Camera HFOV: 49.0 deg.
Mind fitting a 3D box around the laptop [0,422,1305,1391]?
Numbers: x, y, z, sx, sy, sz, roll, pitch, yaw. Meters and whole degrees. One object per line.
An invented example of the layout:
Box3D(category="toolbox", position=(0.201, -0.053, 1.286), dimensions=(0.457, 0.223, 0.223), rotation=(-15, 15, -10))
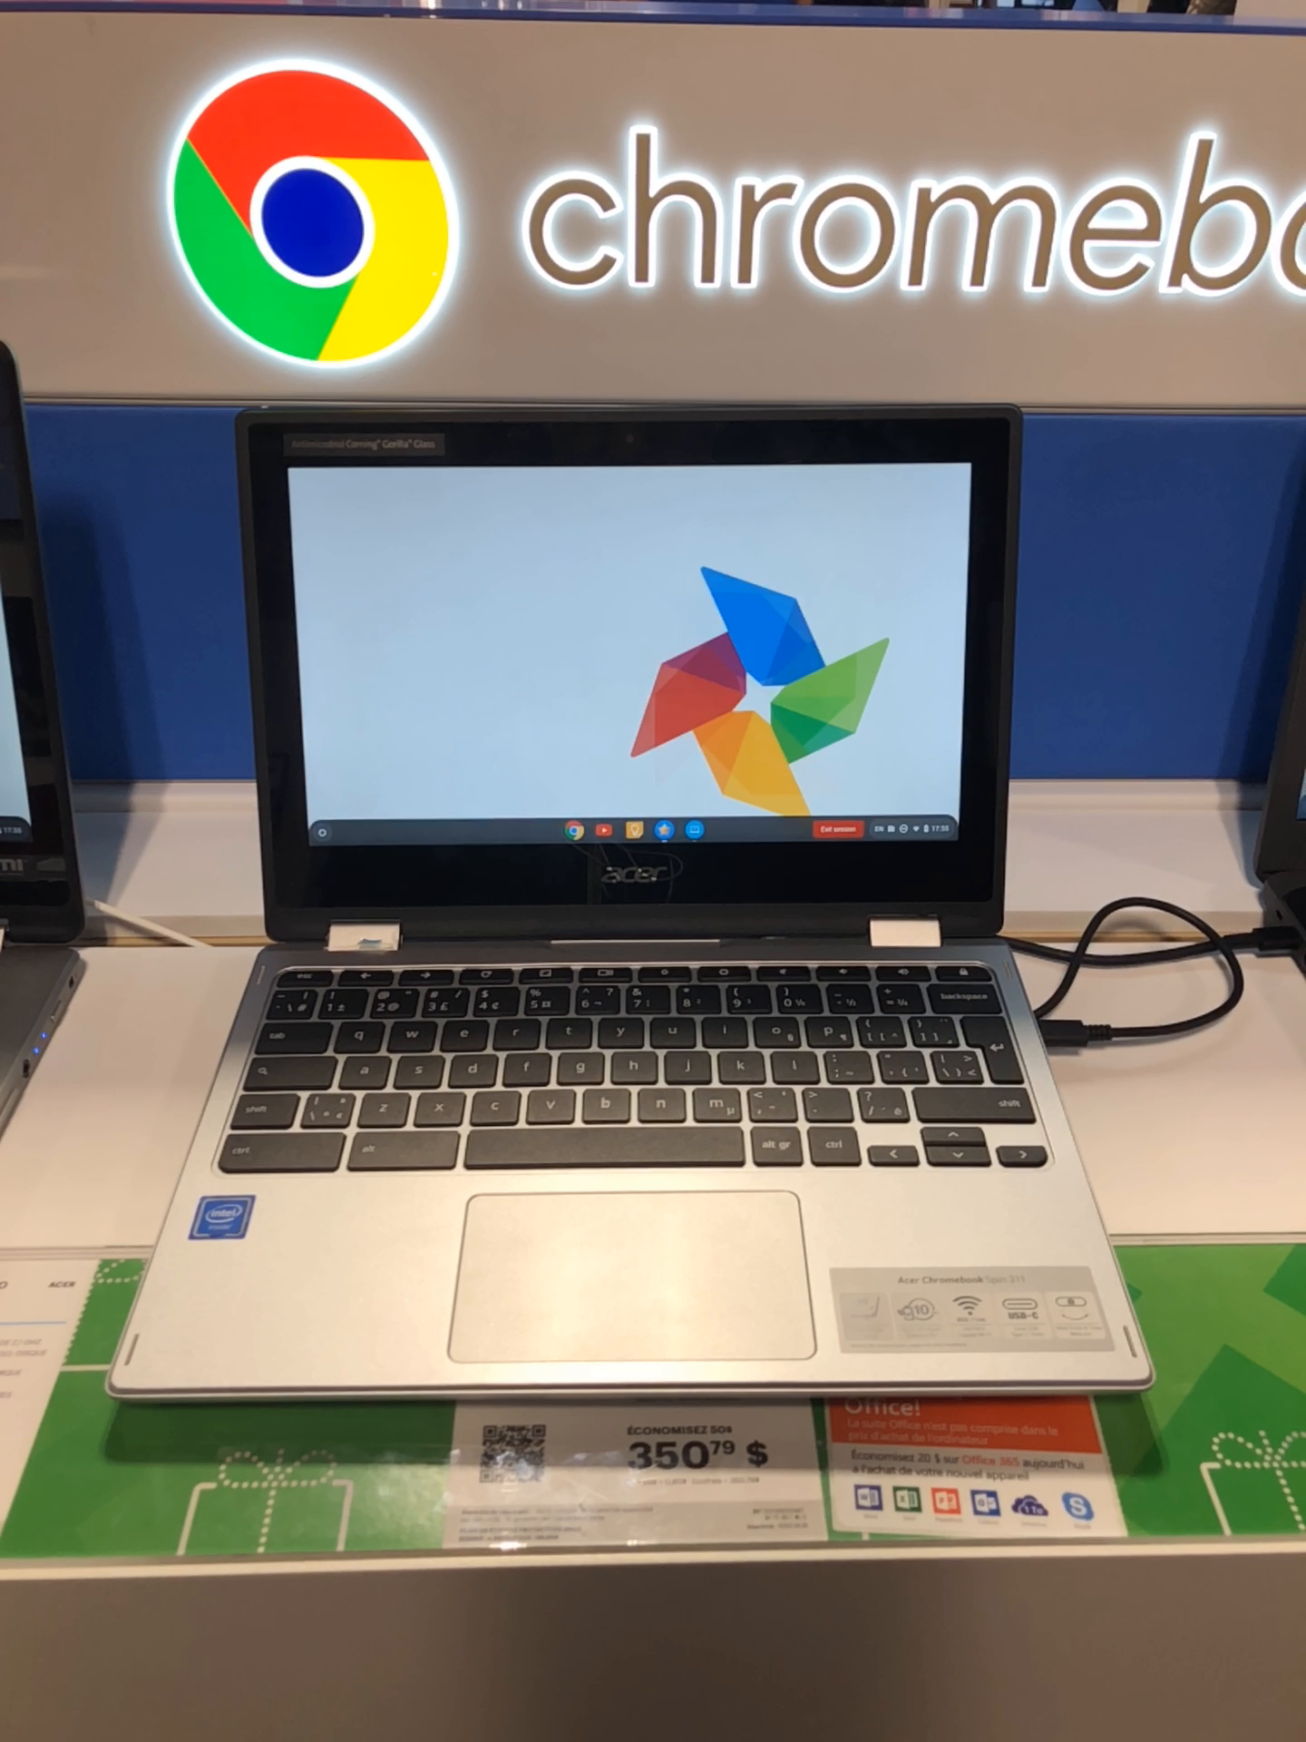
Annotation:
Box3D(category="laptop", position=(-0.006, -0.010, 0.459), dimensions=(0.284, 0.181, 0.274), rotation=(0, 35, -1))
